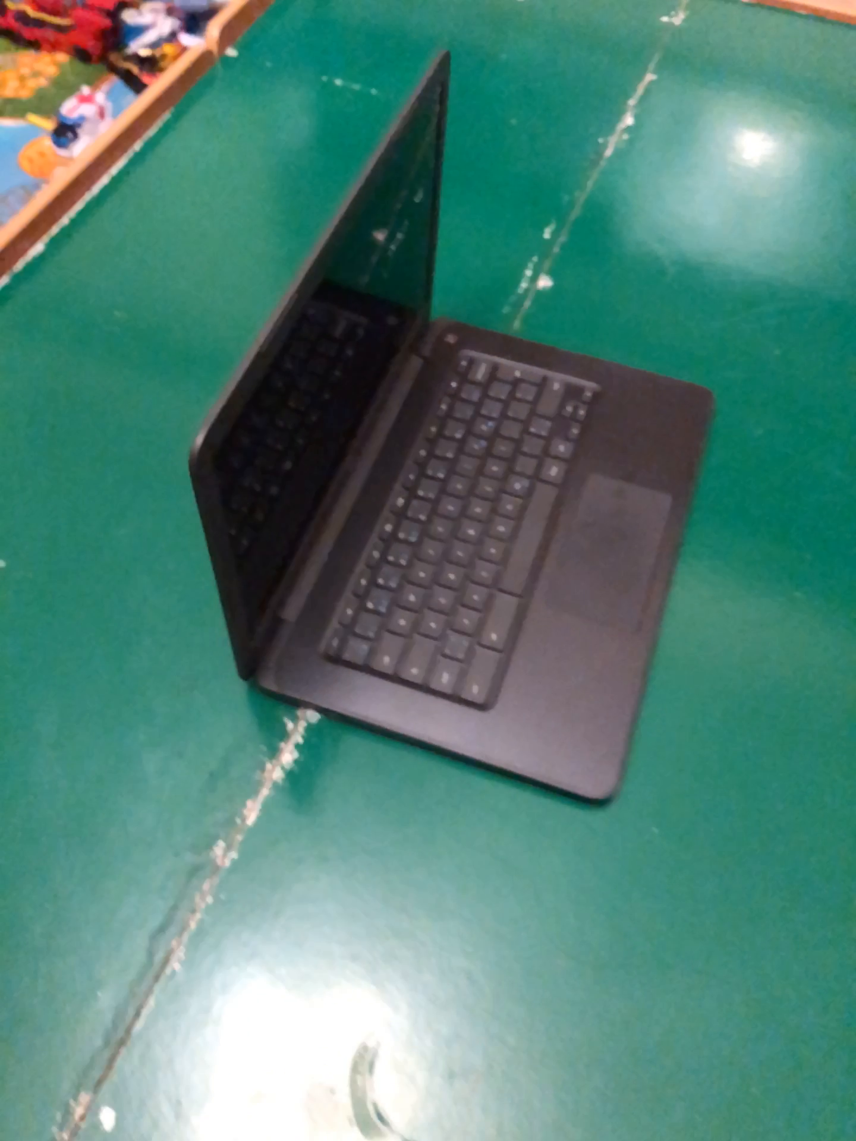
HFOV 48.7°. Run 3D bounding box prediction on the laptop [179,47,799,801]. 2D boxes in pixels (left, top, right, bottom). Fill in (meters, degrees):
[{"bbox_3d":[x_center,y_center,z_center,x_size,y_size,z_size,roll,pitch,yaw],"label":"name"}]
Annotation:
[{"bbox_3d":[0.049,-0.087,0.533,0.210,0.204,0.318,17,59,9],"label":"laptop"}]
